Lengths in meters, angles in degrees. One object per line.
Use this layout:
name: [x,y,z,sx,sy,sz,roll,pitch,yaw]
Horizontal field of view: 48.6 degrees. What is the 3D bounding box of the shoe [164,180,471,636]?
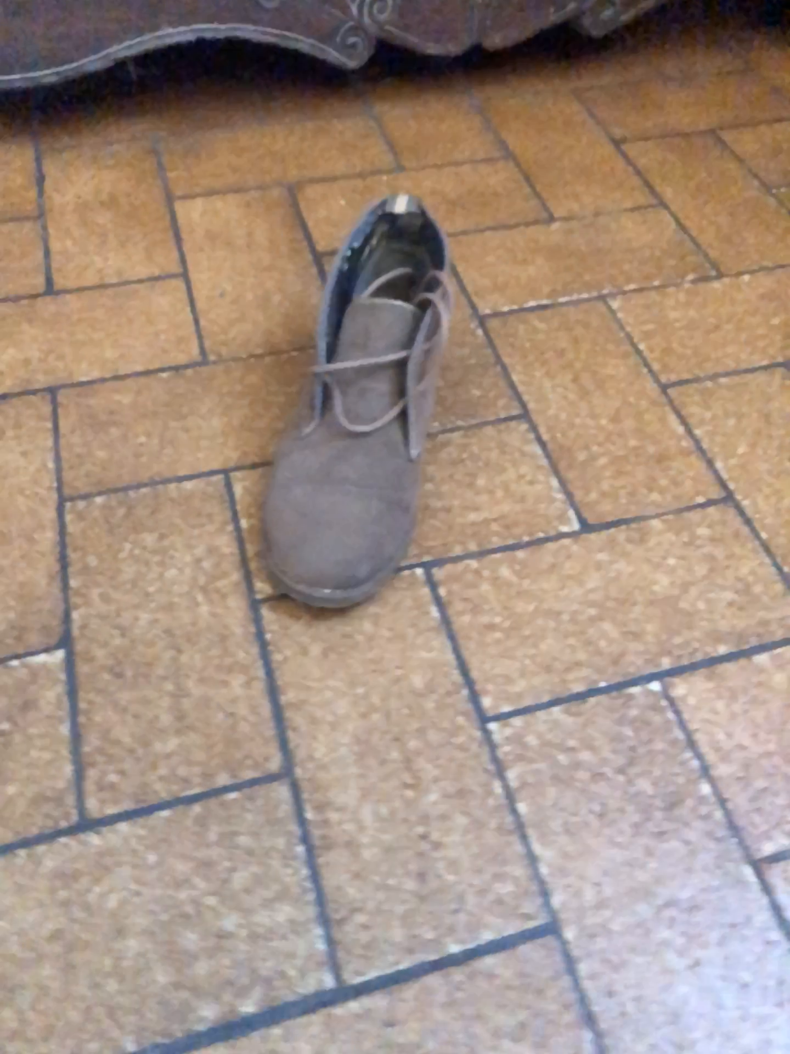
shoe: [-0.030,-0.079,0.503,0.100,0.099,0.251,11,53,6]
